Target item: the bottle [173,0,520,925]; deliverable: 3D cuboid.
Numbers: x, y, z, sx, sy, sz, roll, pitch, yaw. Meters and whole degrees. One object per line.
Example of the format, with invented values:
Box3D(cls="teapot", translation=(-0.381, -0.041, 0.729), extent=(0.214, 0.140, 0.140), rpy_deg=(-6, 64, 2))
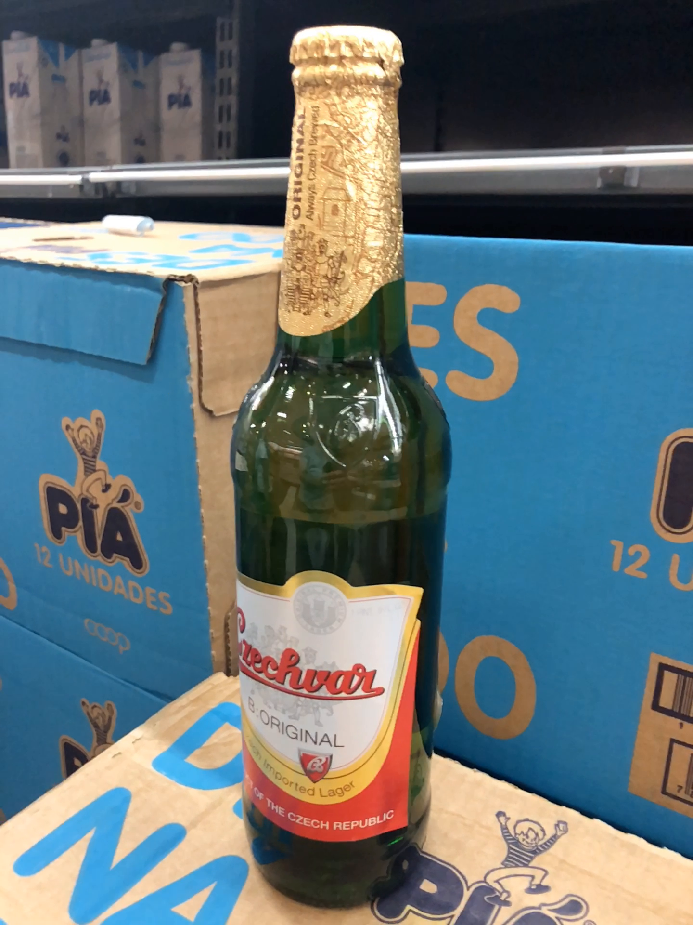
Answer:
Box3D(cls="bottle", translation=(-0.002, 0.005, 0.243), extent=(0.070, 0.269, 0.070), rpy_deg=(2, 15, -1))
